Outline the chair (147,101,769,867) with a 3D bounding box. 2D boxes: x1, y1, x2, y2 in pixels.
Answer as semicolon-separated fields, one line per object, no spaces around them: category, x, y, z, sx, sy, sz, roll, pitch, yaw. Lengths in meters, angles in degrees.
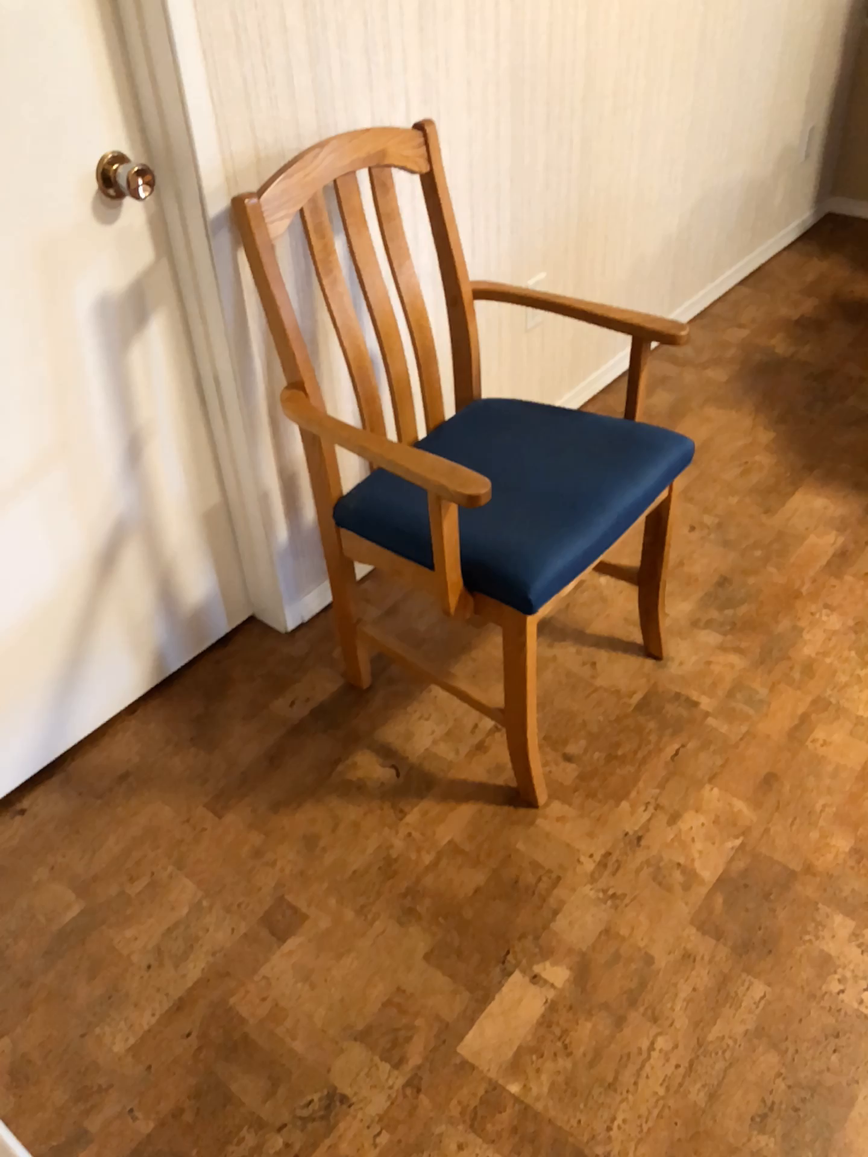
chair;0.061;-0.156;1.523;0.591;0.937;0.551;23;46;28
